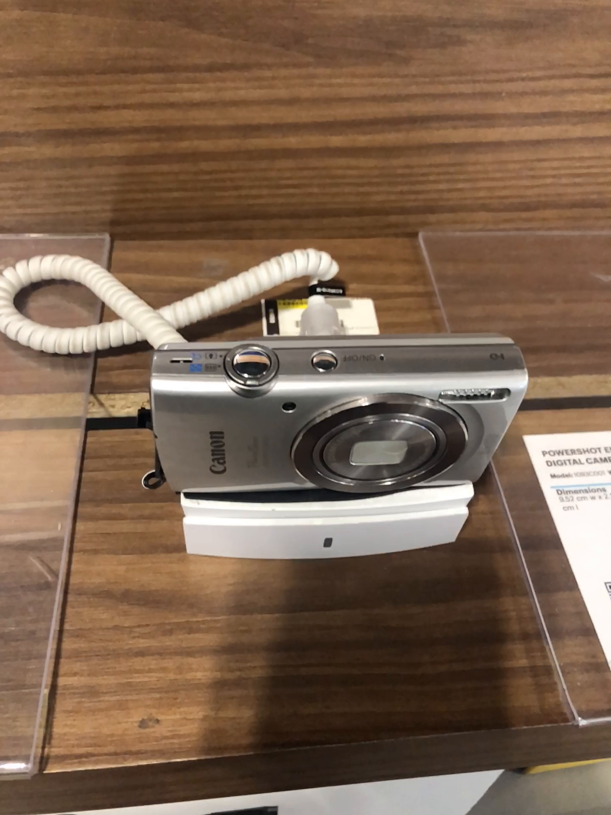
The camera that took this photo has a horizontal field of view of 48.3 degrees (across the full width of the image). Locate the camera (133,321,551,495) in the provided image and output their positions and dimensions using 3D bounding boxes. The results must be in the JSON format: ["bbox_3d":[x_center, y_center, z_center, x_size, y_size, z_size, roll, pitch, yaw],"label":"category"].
[{"bbox_3d":[0.008,0.001,0.188,0.100,0.050,0.020,-1,53,-5],"label":"camera"}]
